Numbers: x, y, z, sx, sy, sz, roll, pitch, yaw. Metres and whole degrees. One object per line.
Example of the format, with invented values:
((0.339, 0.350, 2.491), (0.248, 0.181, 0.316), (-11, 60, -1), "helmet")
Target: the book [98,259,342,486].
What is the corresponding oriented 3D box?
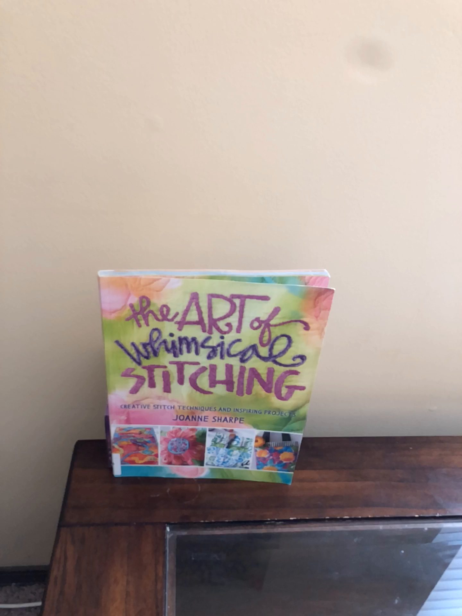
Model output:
((-0.018, 0.081, 0.524), (0.214, 0.263, 0.029), (3, 31, -3), "book")
